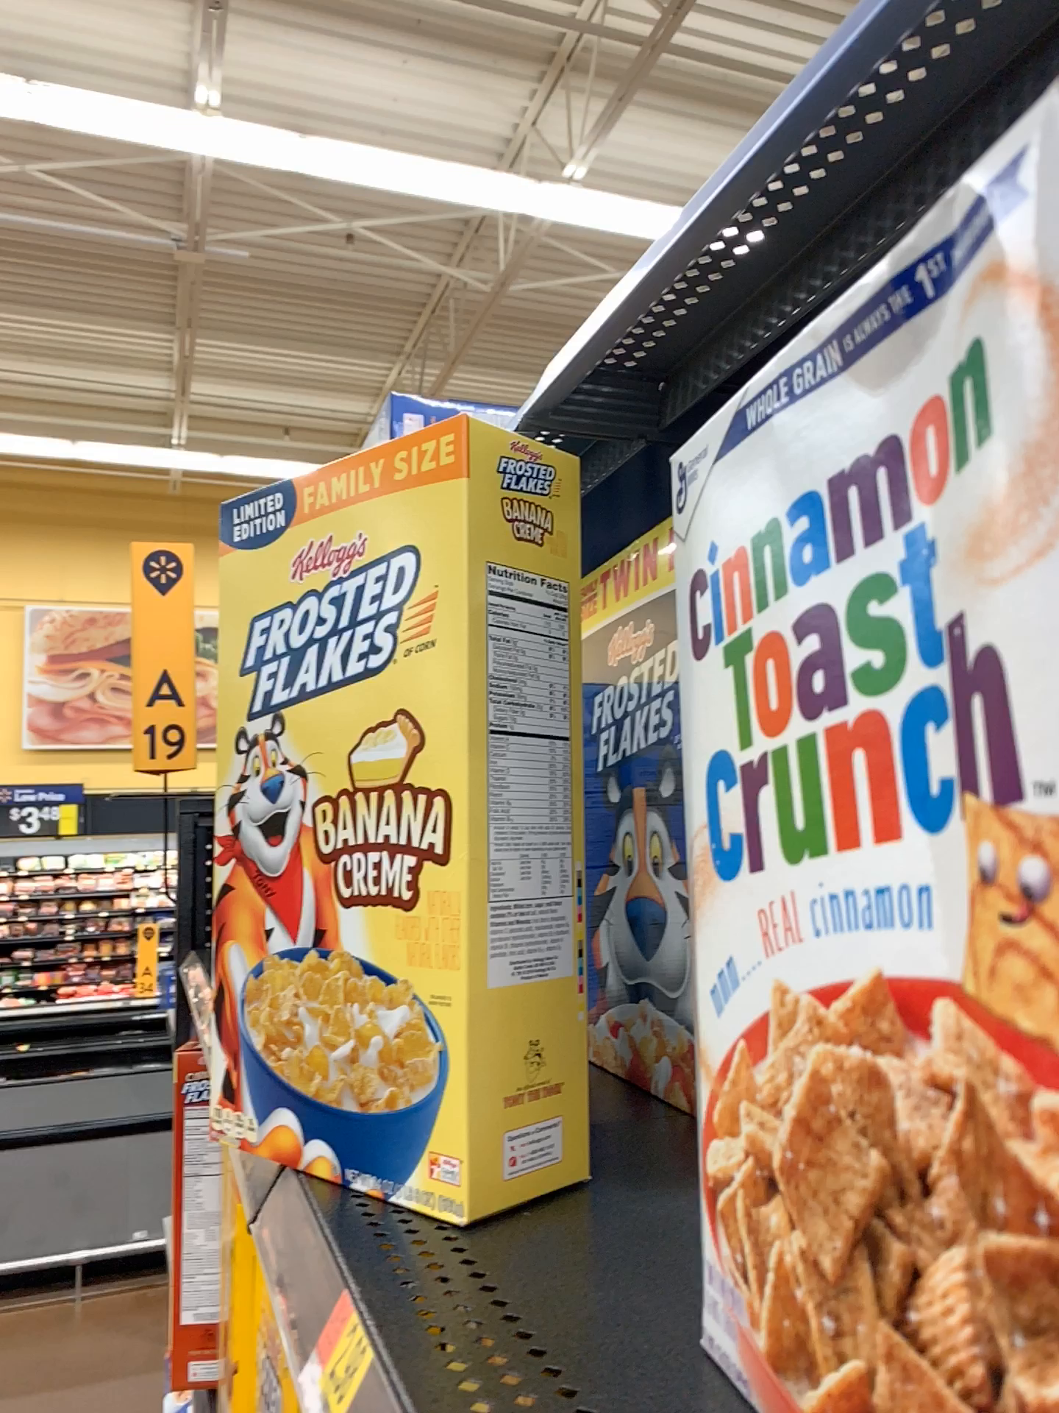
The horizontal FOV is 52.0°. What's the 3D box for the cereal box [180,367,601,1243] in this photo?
[{"bbox_3d":[-0.074,0.041,0.520,0.200,0.341,0.080,-7,-9,41],"label":"cereal box"}]
